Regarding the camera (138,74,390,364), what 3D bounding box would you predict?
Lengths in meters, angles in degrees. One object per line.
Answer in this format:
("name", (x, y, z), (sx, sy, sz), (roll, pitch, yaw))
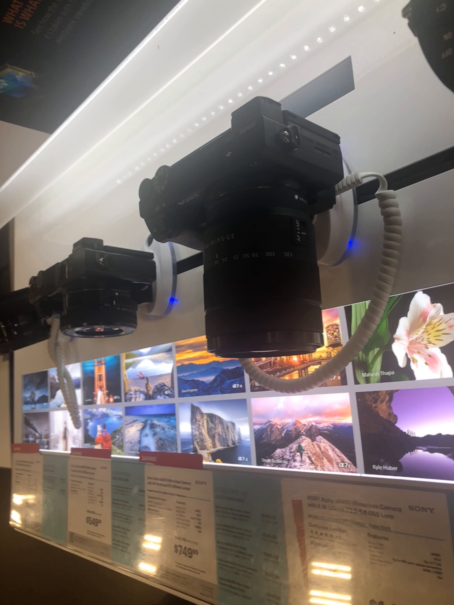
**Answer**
("camera", (0.014, -0.033, 0.302), (0.131, 0.070, 0.130), (-12, 78, 48))
